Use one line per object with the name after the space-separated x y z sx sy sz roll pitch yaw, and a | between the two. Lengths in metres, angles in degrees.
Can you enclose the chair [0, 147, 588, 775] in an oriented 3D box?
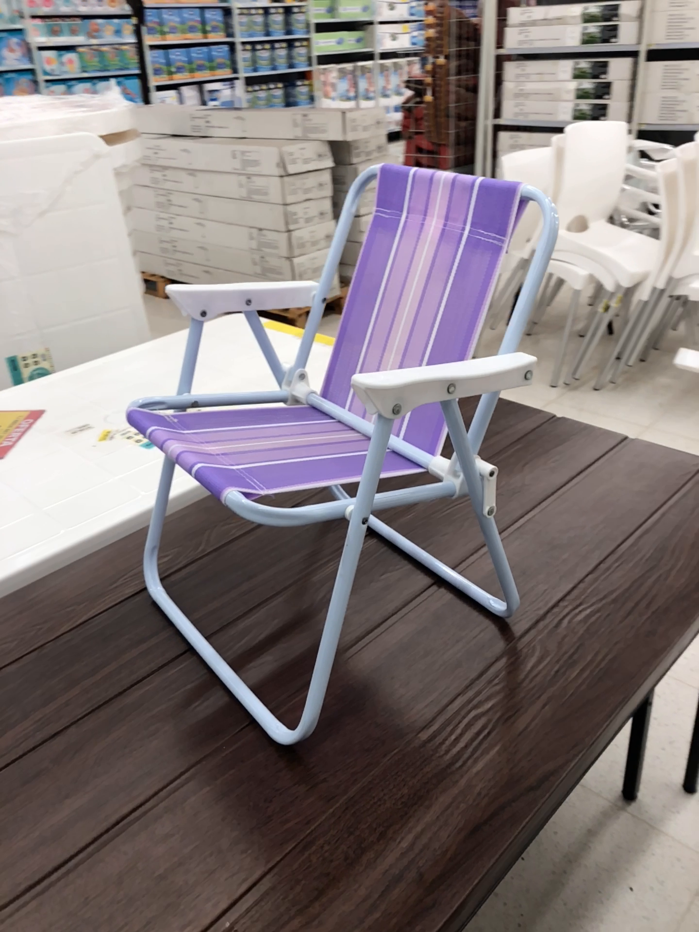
-0.067 -0.067 0.805 0.391 0.437 0.422 -21 33 -30 | chair
